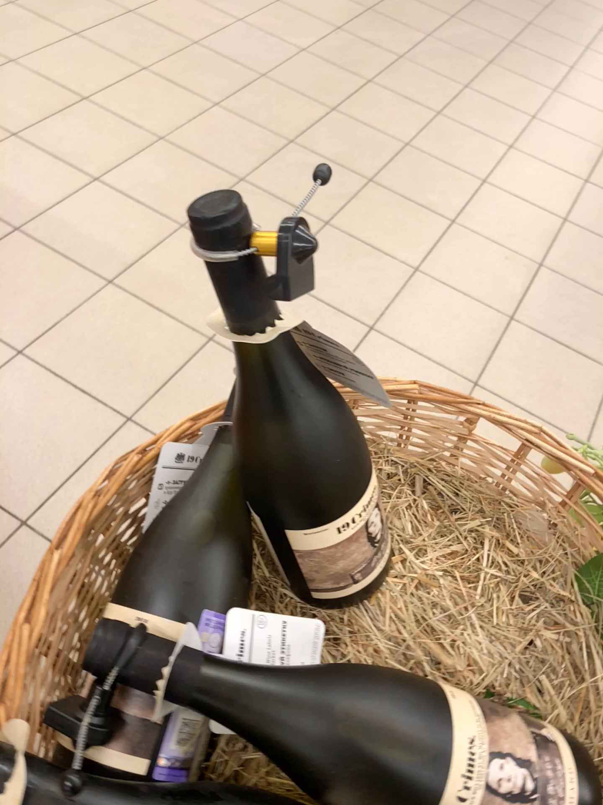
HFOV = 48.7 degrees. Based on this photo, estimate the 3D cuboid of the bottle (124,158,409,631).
[{"bbox_3d":[0.003,0.015,0.397,0.080,0.289,0.090,11,48,24],"label":"bottle"}]
